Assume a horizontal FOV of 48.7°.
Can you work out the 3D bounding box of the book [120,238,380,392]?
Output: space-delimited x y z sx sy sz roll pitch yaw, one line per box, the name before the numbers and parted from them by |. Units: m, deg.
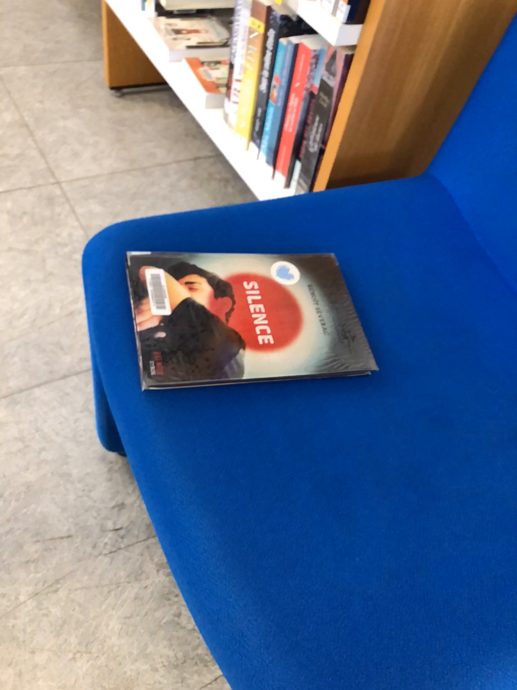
book | -0.012 -0.032 0.514 0.211 0.023 0.147 -2 55 -17
